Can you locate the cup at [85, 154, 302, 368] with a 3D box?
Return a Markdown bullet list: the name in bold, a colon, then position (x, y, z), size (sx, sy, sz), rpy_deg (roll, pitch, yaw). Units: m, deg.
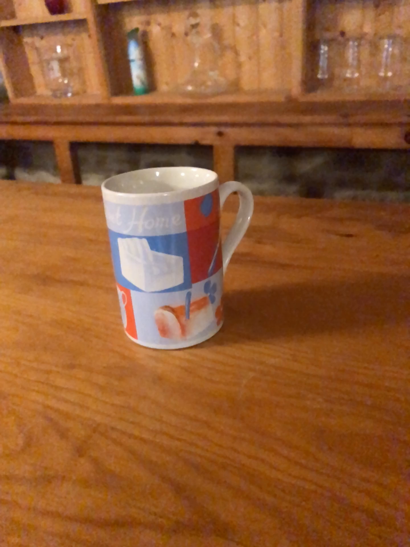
- **cup**: position (-0.005, -0.017, 0.307), size (0.112, 0.099, 0.080), rpy_deg (-19, 30, -31)
